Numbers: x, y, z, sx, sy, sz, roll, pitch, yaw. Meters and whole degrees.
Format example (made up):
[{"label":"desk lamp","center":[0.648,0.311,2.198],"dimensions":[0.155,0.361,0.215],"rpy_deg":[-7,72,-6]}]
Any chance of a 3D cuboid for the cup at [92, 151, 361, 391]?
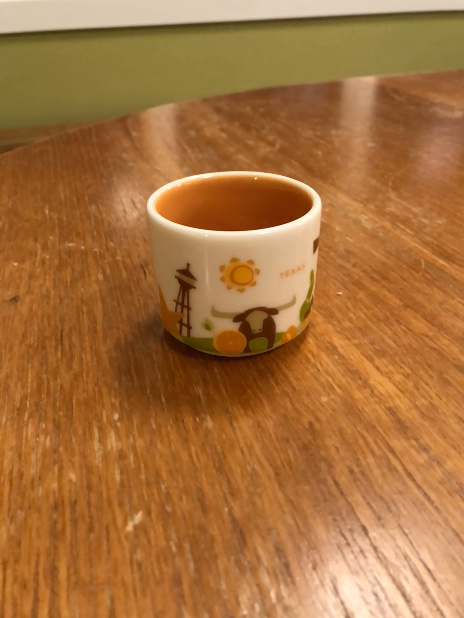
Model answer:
[{"label":"cup","center":[0.002,-0.021,0.197],"dimensions":[0.059,0.049,0.080],"rpy_deg":[20,39,30]}]
